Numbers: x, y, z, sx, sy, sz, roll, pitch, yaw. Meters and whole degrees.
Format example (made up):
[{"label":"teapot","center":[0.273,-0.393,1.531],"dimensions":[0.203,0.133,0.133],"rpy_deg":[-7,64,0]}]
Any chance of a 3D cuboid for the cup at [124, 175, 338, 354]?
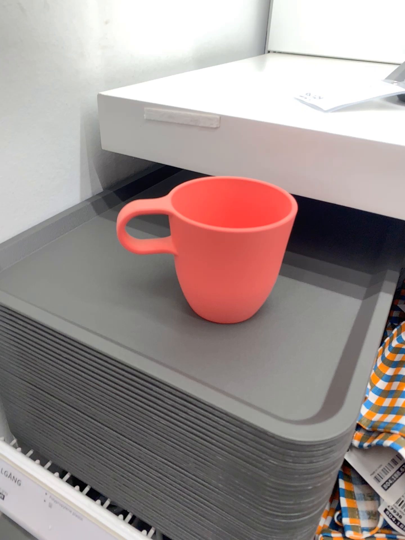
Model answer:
[{"label":"cup","center":[0.011,-0.008,0.267],"dimensions":[0.110,0.080,0.070],"rpy_deg":[-6,34,-14]}]
